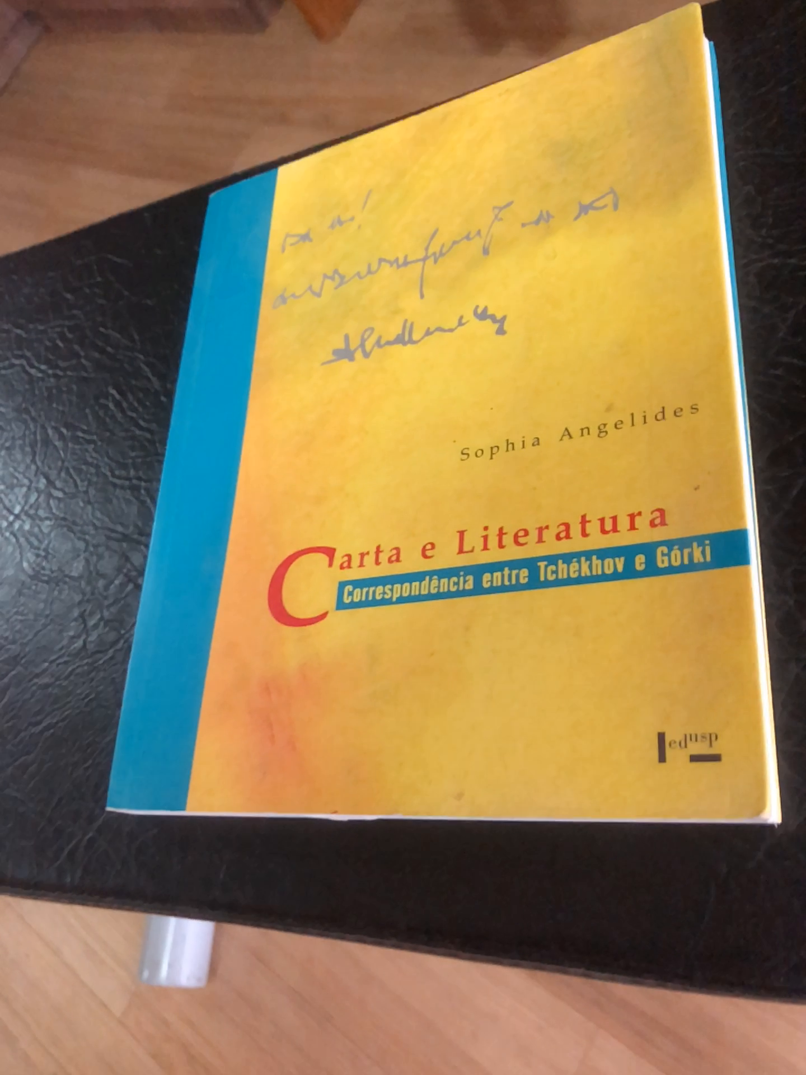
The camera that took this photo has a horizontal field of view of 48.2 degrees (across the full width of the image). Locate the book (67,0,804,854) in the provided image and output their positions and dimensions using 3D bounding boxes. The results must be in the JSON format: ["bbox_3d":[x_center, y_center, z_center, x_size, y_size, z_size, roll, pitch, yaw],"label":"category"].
[{"bbox_3d":[0.000,-0.031,0.238,0.173,0.024,0.208,-8,66,29],"label":"book"}]
